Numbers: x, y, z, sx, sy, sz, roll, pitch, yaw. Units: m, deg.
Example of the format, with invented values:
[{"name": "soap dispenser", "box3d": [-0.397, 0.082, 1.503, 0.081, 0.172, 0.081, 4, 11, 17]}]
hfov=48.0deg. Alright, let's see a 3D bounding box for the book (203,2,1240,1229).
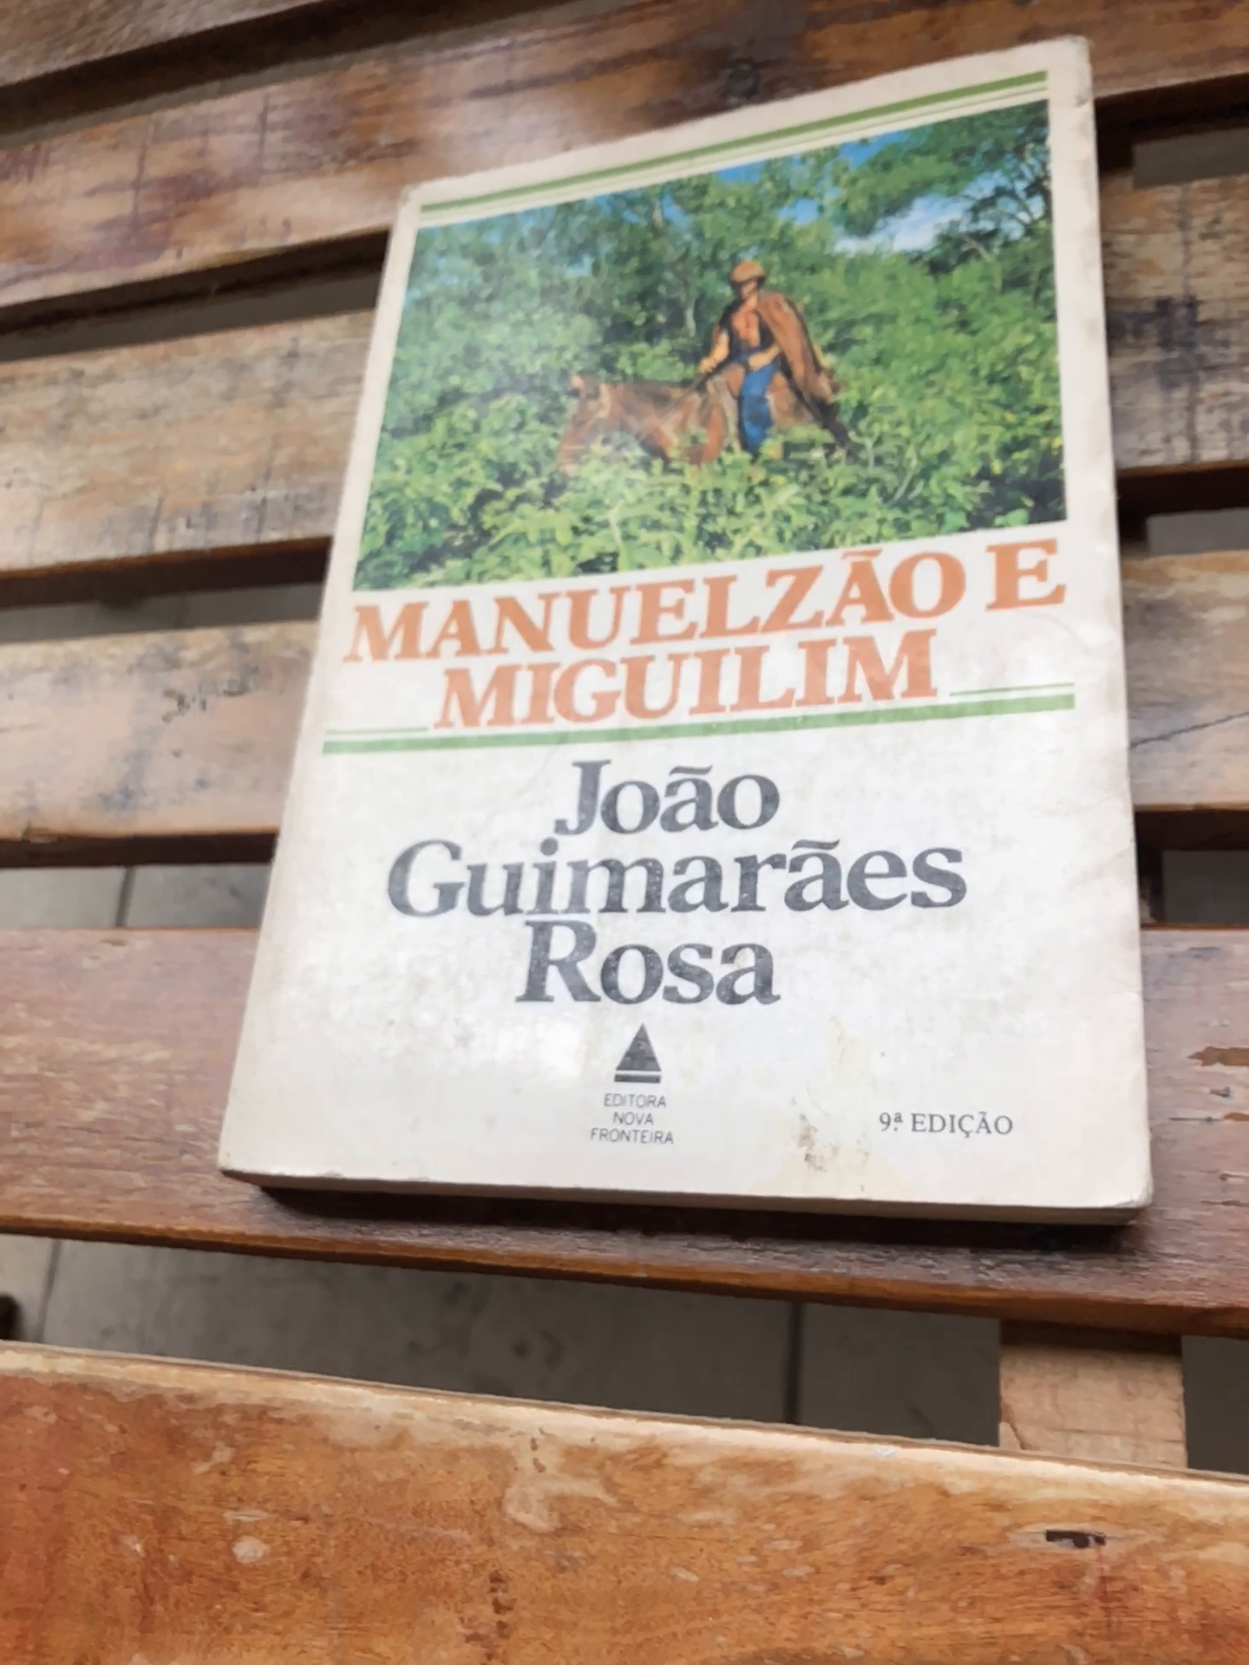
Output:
[{"name": "book", "box3d": [0.015, -0.042, 0.232, 0.141, 0.020, 0.200, -3, 67, 18]}]
